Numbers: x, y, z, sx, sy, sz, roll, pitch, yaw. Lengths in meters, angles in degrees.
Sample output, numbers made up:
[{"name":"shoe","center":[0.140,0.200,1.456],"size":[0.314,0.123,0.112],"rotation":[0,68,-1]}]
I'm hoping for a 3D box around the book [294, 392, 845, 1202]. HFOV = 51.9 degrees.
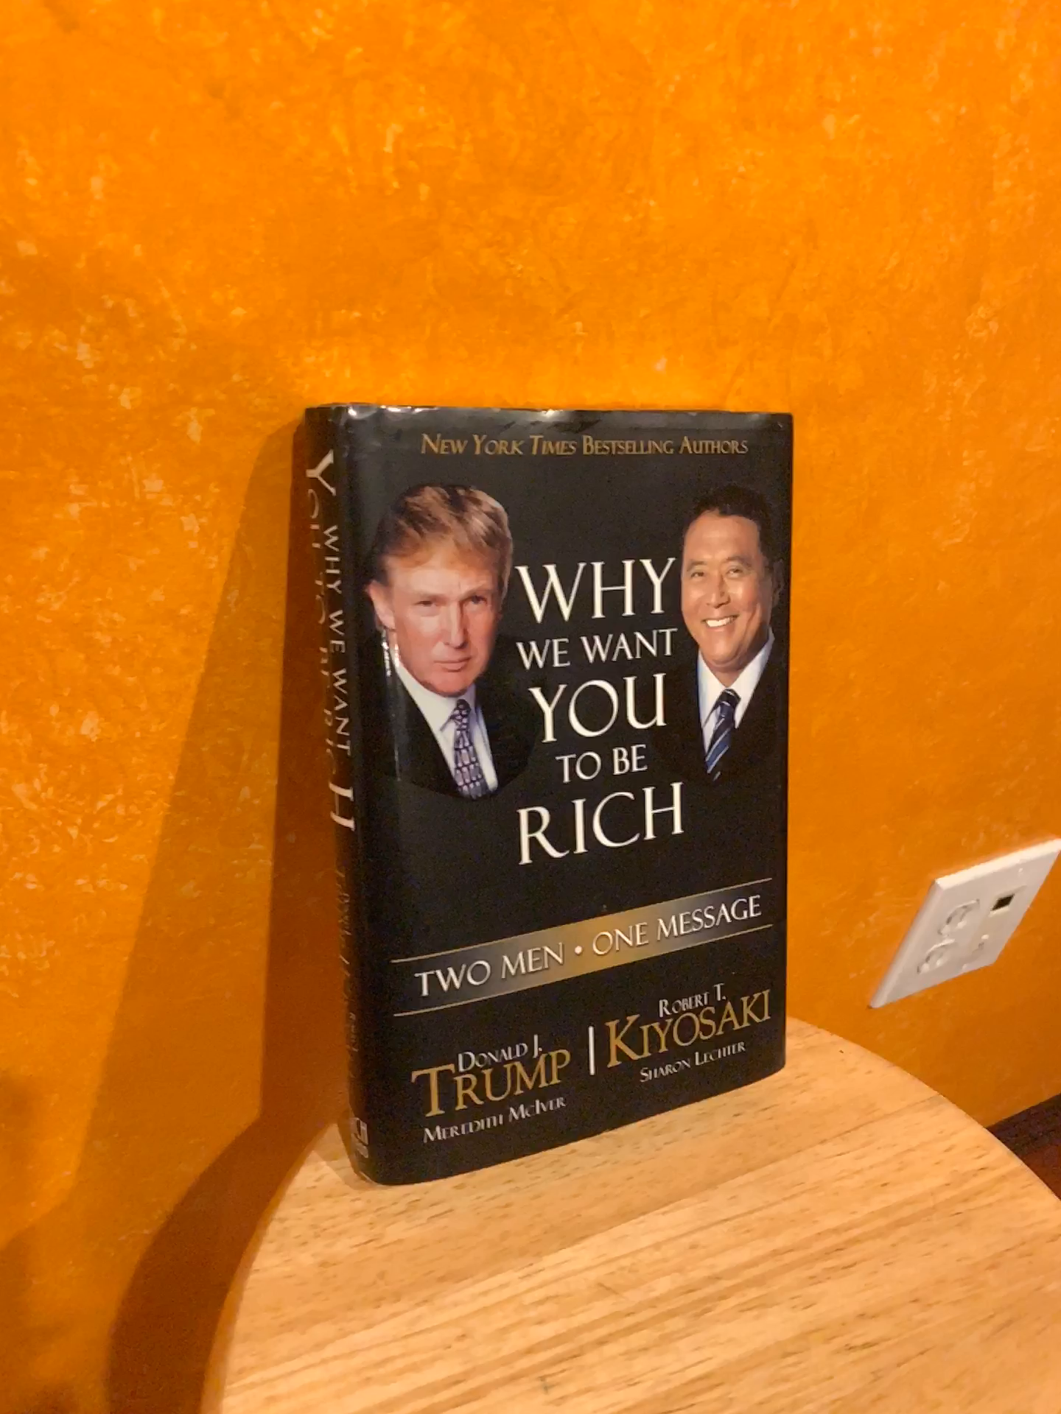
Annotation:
[{"name":"book","center":[0.015,0.019,0.325],"size":[0.151,0.210,0.044],"rotation":[-6,12,-25]}]
